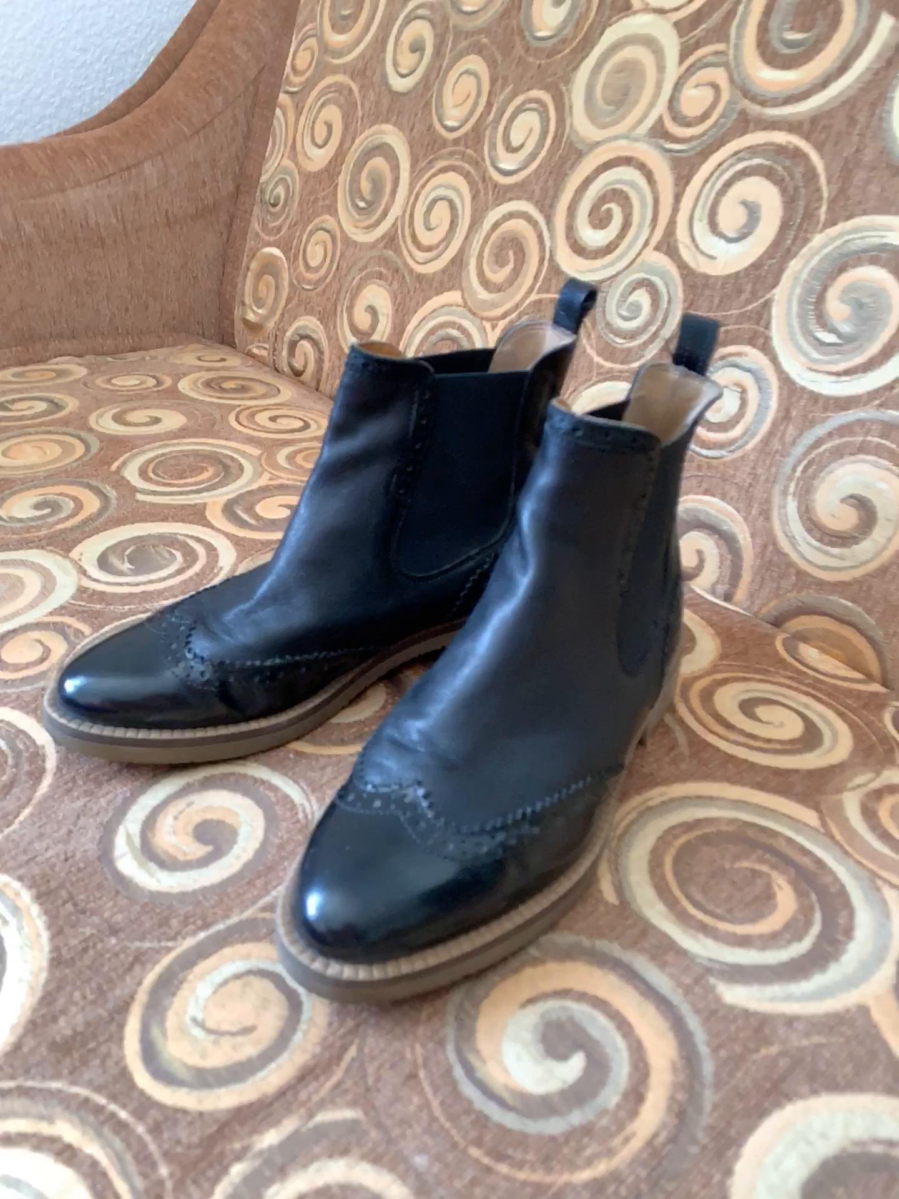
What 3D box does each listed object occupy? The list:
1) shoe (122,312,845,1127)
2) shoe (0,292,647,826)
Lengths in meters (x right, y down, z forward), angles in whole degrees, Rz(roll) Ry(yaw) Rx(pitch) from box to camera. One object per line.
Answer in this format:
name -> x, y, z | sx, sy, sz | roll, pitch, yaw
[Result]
shoe -> 0.041, 0.006, 0.340 | 0.100, 0.139, 0.291 | 21, 38, 27
shoe -> -0.056, -0.031, 0.378 | 0.240, 0.139, 0.100 | -15, 36, -24
